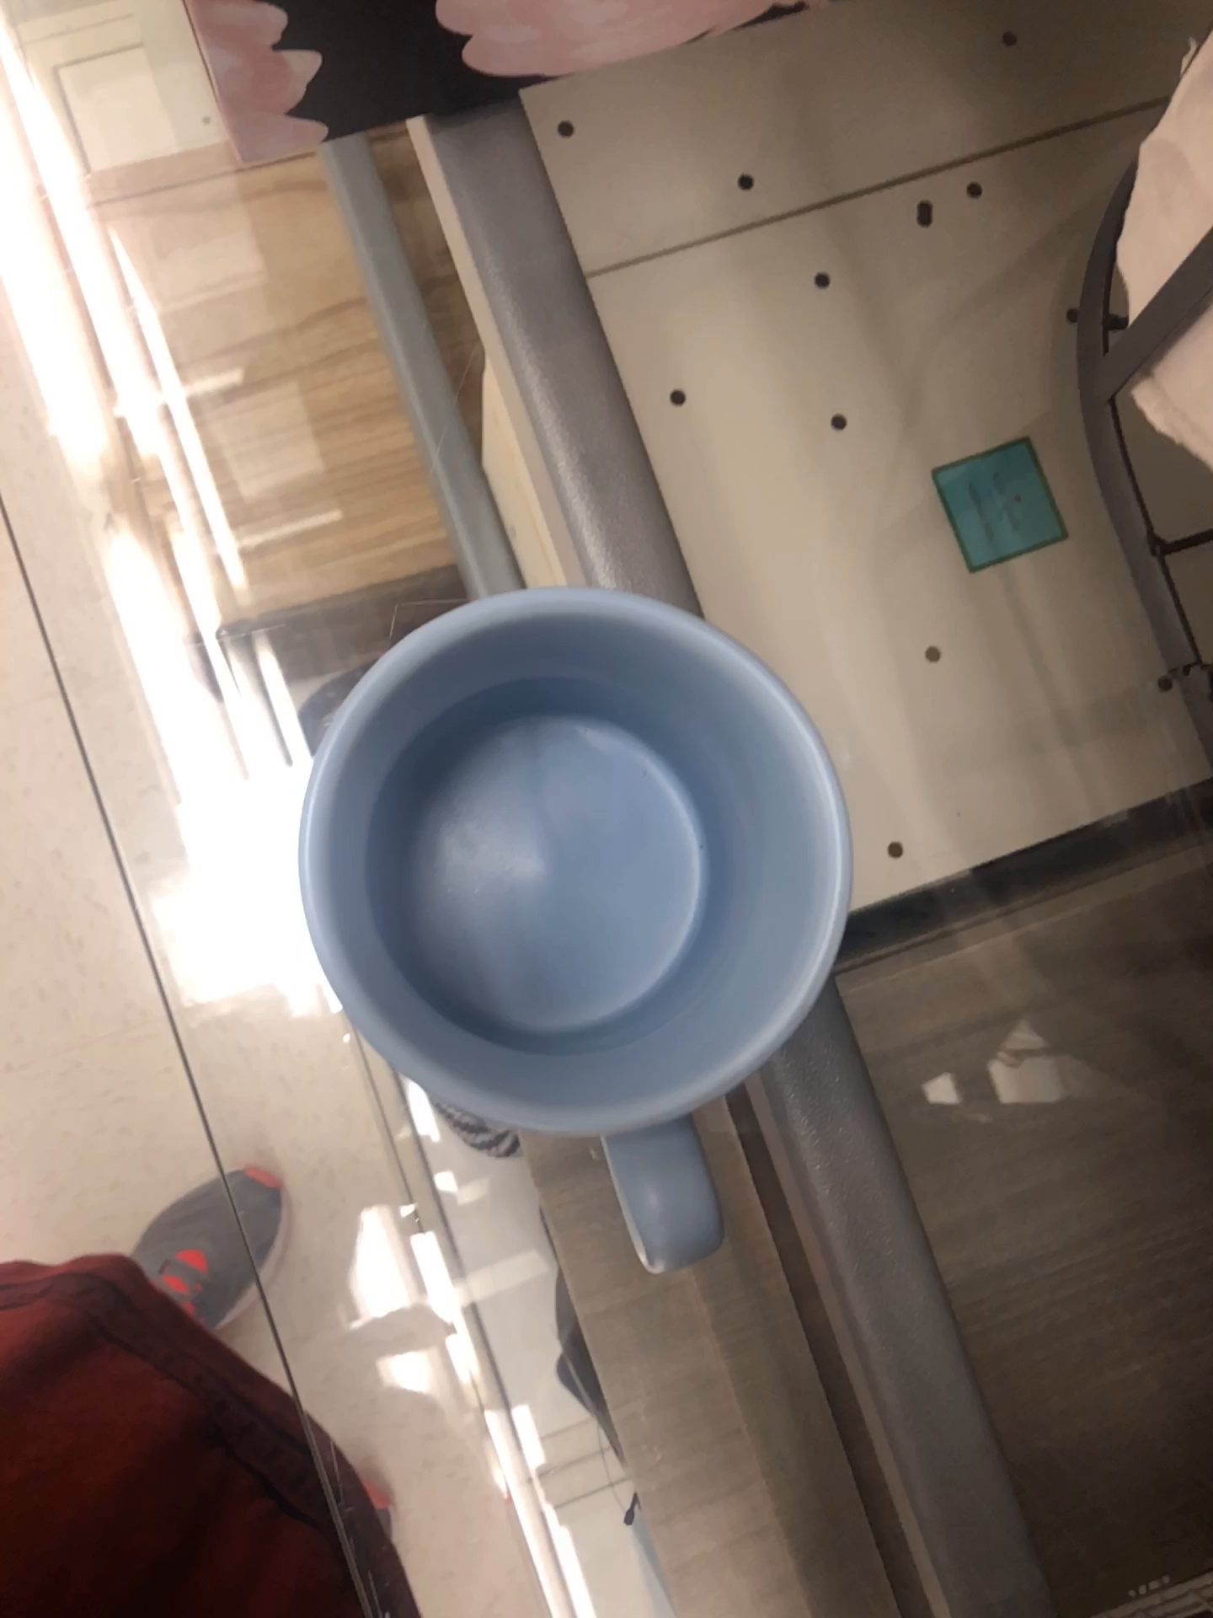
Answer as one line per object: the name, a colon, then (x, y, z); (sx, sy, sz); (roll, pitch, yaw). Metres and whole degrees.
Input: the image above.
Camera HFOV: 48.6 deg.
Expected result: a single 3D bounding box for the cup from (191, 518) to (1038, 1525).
cup: (-0.002, 0.036, 0.271); (0.100, 0.101, 0.139); (-19, 87, -6)
